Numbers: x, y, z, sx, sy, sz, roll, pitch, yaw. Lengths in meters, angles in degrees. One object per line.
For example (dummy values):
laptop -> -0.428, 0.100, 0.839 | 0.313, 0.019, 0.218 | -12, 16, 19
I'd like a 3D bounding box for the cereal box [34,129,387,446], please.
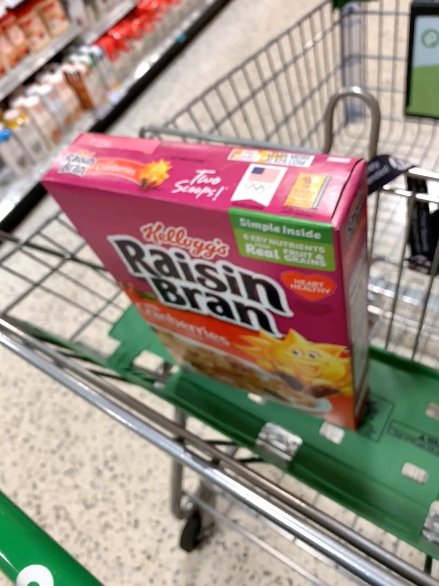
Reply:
cereal box -> 0.023, 0.020, 0.395 | 0.211, 0.327, 0.050 | 15, 62, 26
